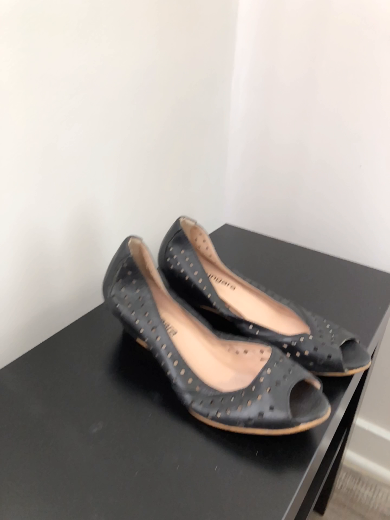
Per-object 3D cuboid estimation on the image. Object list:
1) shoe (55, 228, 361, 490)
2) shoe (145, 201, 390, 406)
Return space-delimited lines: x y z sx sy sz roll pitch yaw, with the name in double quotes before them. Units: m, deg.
"shoe" -0.001 0.064 0.361 0.231 0.100 0.085 21 34 29
"shoe" 0.066 0.028 0.415 0.220 0.100 0.085 20 33 27
